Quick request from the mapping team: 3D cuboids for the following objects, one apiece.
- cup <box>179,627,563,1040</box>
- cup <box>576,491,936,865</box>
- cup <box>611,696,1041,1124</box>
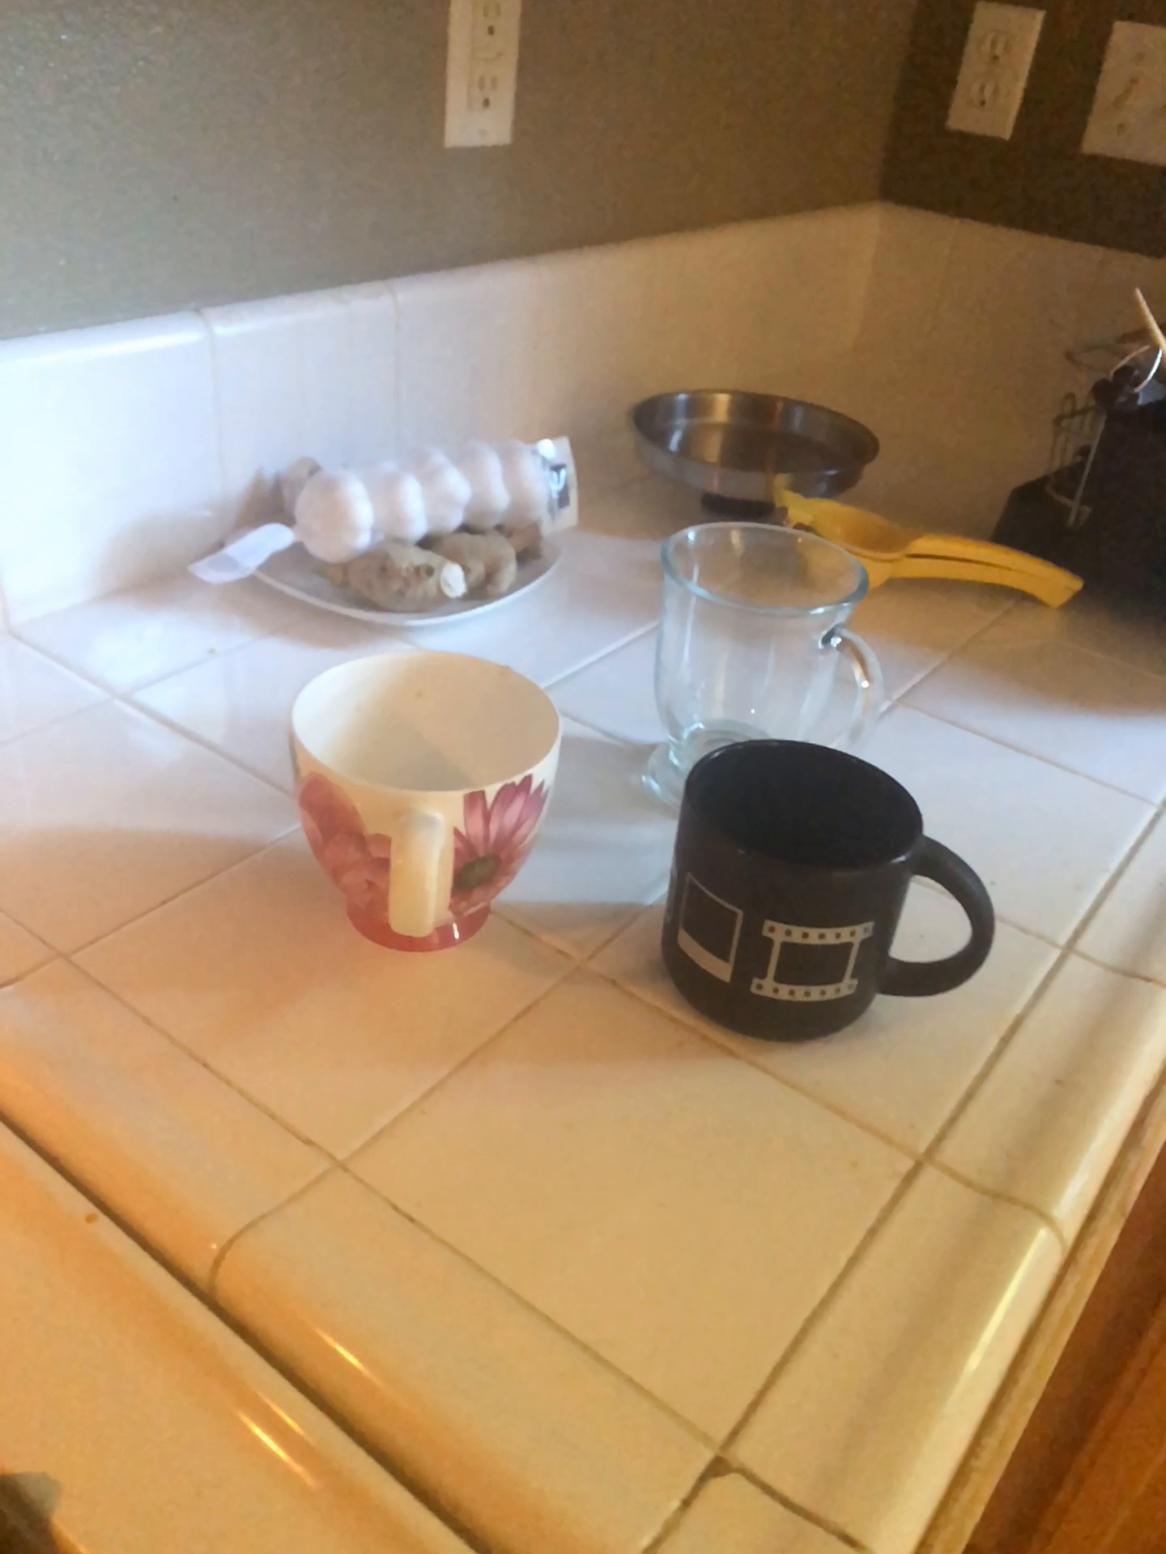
[{"bbox_3d":[-0.076,0.016,0.508,0.110,0.079,0.141,9,34,3],"label":"cup"},{"bbox_3d":[0.075,-0.052,0.612,0.100,0.119,0.121,-13,39,-27],"label":"cup"},{"bbox_3d":[0.096,0.047,0.512,0.130,0.089,0.101,20,36,18],"label":"cup"}]
